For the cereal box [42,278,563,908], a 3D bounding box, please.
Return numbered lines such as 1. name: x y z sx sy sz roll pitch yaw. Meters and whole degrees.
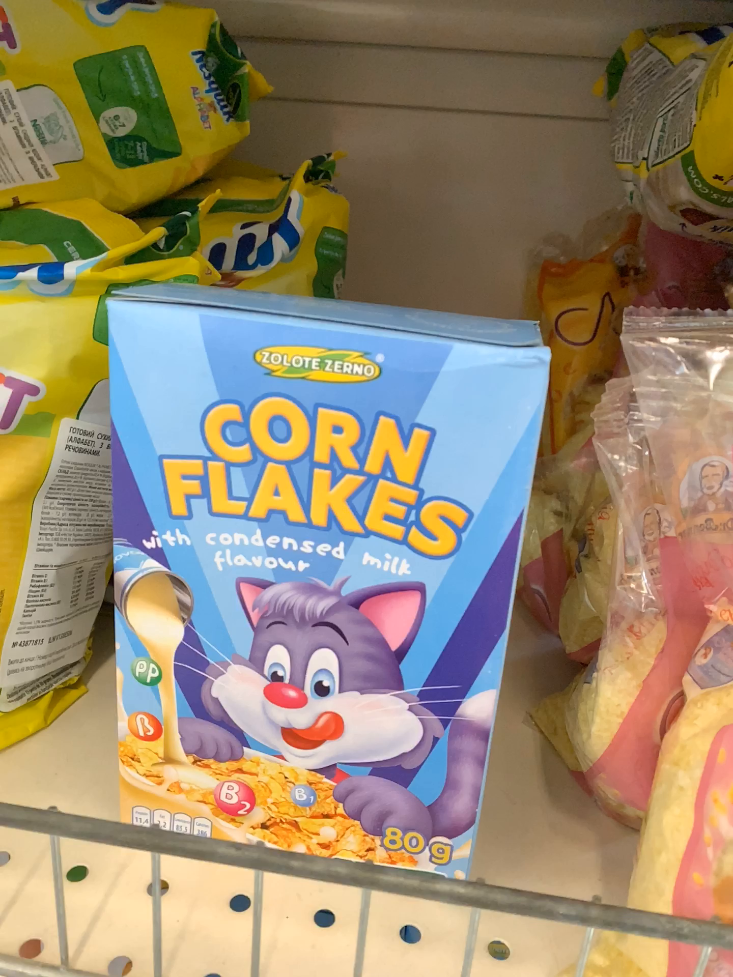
1. cereal box: -0.019 0.028 0.220 0.120 0.159 0.050 7 18 6
